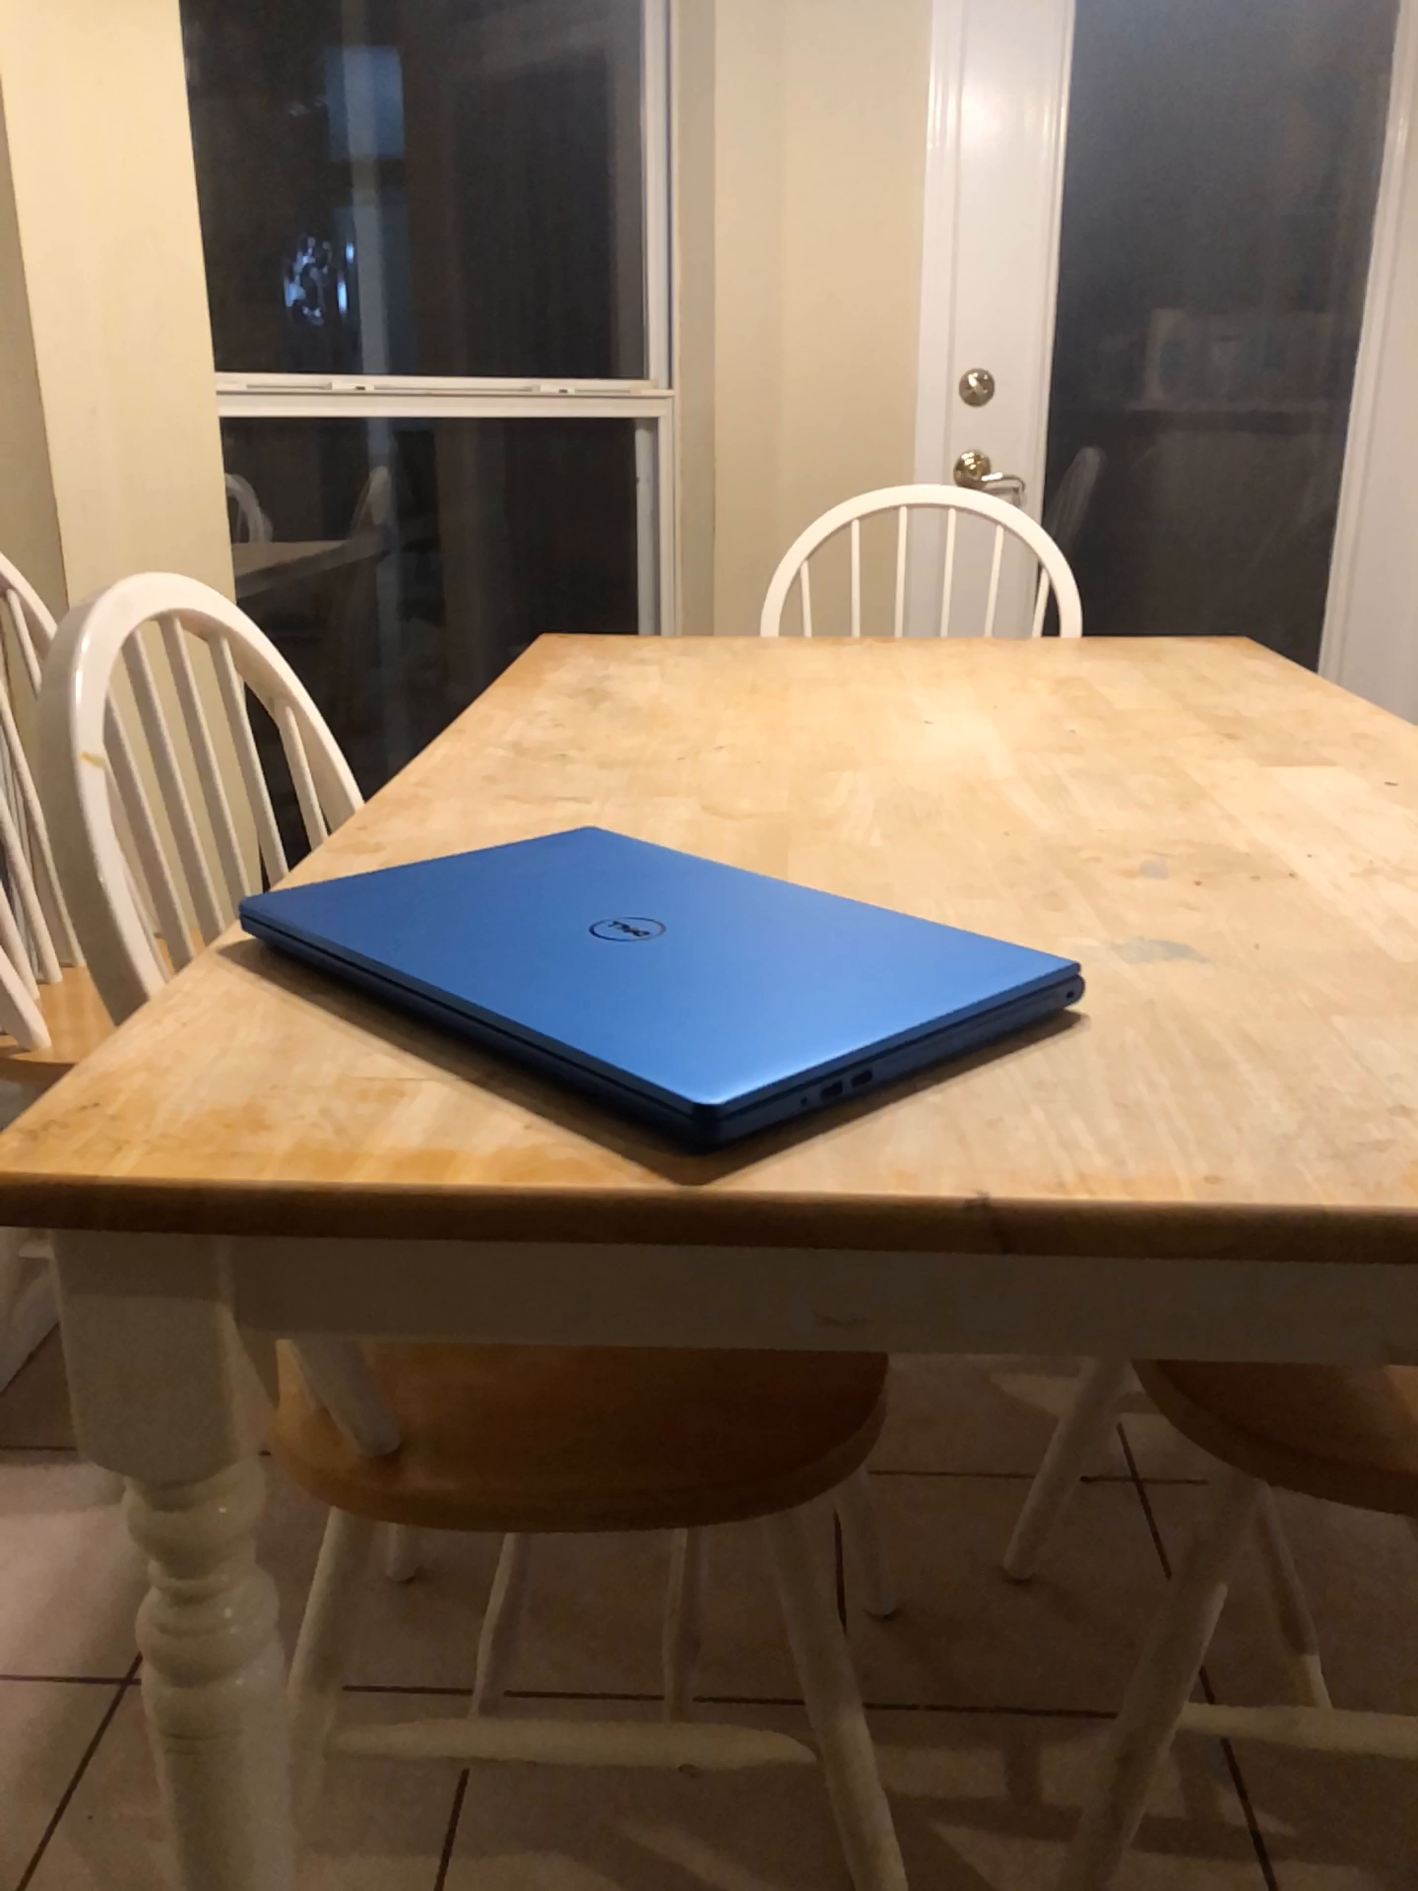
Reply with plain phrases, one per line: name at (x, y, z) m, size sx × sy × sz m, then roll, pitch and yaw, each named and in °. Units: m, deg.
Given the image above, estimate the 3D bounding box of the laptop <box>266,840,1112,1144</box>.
laptop at (-0.024, 0.004, 0.832) m, size 0.260 × 0.001 × 0.389 m, roll -17°, pitch 25°, yaw -40°
